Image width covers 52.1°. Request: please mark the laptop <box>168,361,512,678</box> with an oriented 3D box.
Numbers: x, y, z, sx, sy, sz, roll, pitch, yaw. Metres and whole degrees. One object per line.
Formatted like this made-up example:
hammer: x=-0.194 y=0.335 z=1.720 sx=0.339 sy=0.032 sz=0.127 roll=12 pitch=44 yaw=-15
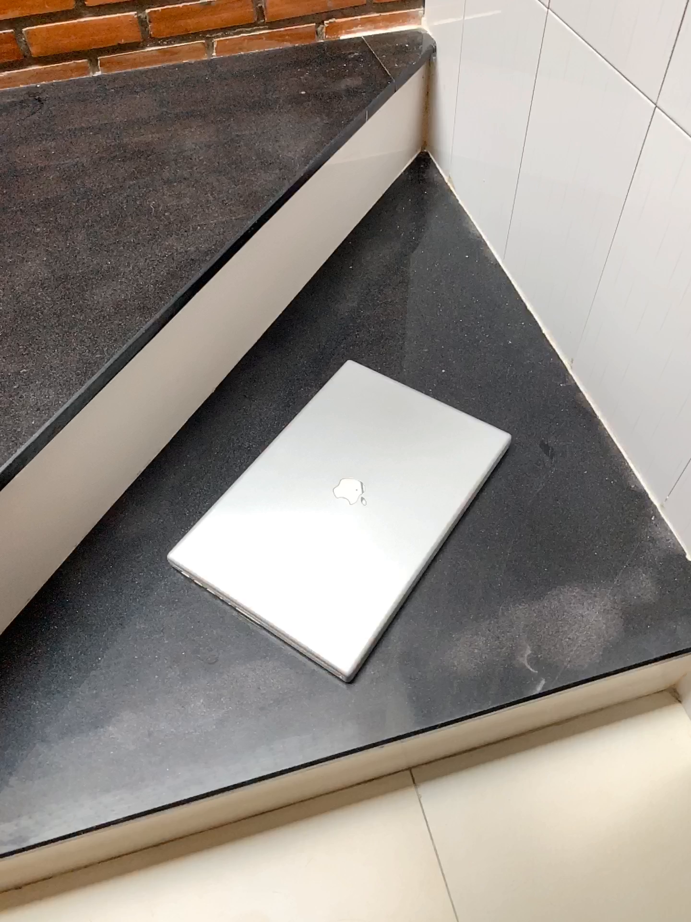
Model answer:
laptop: x=0.007 y=0.052 z=1.020 sx=0.292 sy=0.013 sz=0.441 roll=29 pitch=59 yaw=18
